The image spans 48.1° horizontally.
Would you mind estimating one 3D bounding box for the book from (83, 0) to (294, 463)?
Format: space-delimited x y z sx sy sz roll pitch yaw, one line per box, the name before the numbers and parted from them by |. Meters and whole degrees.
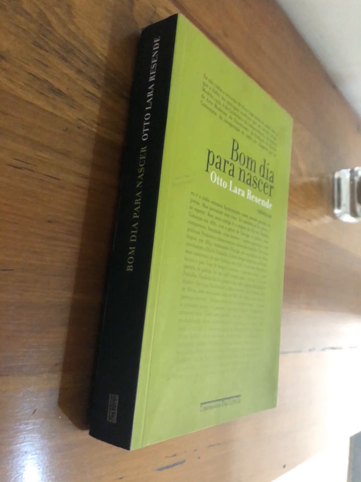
book | 0.020 -0.003 0.236 0.137 0.030 0.208 16 76 -49
